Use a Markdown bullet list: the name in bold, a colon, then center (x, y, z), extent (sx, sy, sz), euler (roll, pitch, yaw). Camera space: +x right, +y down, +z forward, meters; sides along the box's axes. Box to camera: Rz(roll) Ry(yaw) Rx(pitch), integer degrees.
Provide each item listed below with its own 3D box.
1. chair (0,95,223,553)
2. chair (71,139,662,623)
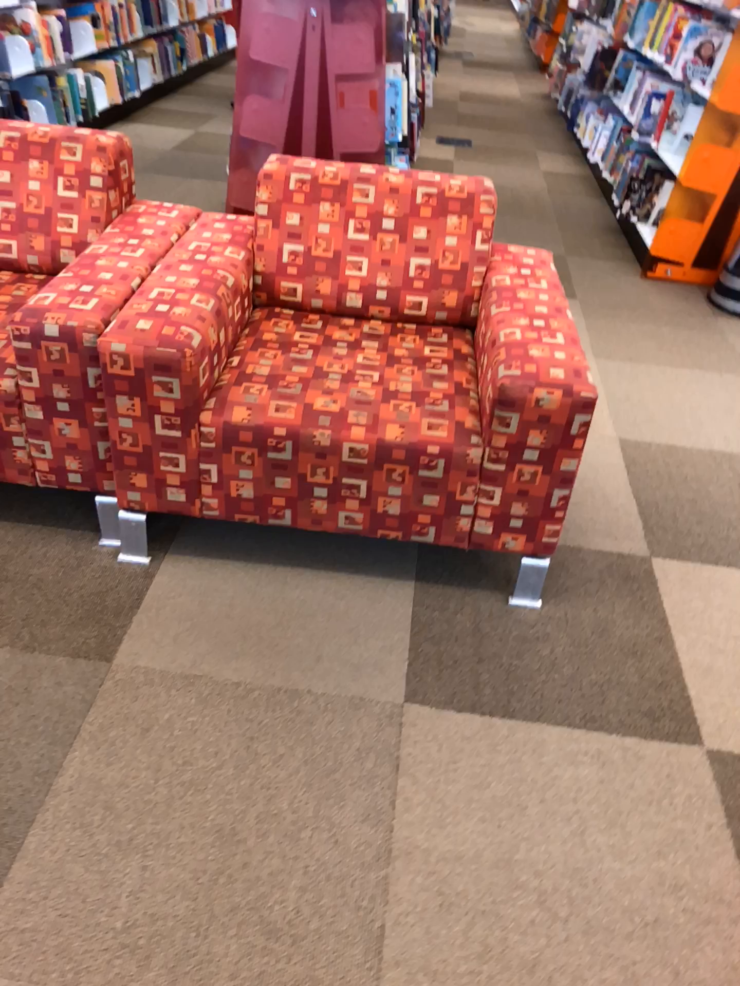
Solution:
- **chair**: center (-0.939, -0.481, 2.026), extent (0.919, 0.716, 0.957), euler (7, 34, 1)
- **chair**: center (0.003, -0.340, 1.968), extent (1.002, 0.686, 0.997), euler (7, 34, 1)
